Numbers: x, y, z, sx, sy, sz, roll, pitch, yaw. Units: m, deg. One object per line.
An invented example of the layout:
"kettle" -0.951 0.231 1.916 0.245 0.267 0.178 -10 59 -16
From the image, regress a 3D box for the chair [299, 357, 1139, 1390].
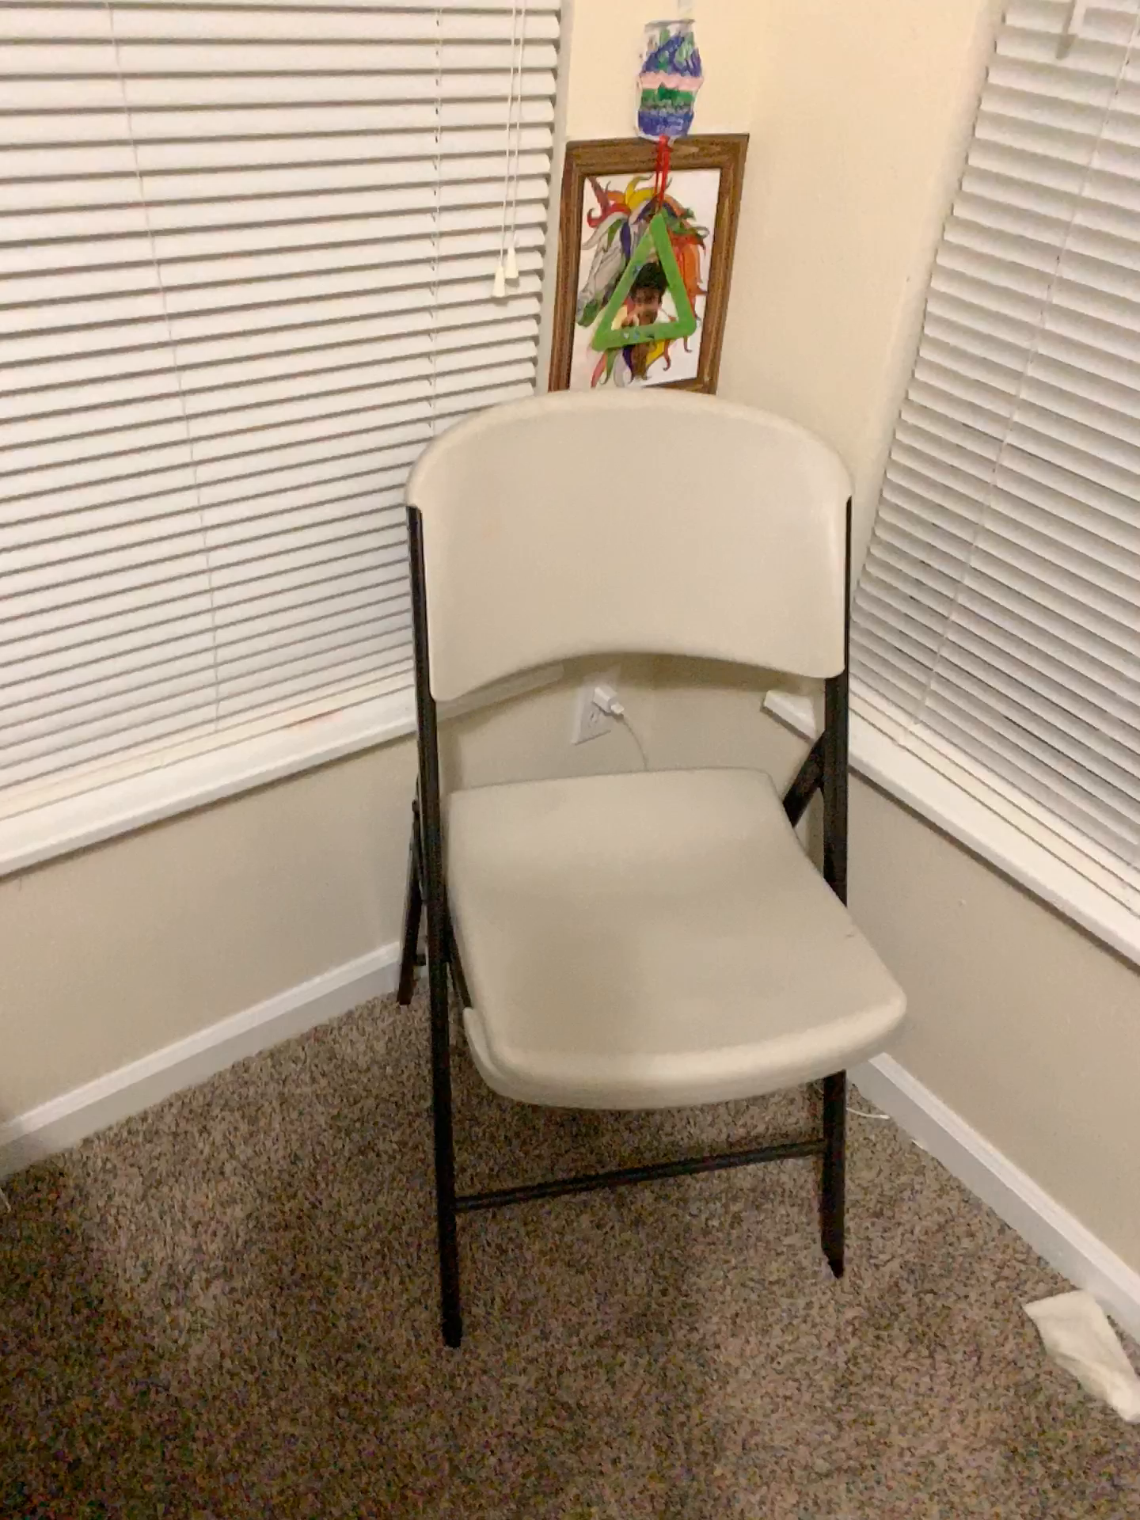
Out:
"chair" 0.044 0.088 1.266 0.610 0.816 0.683 -3 37 -13
